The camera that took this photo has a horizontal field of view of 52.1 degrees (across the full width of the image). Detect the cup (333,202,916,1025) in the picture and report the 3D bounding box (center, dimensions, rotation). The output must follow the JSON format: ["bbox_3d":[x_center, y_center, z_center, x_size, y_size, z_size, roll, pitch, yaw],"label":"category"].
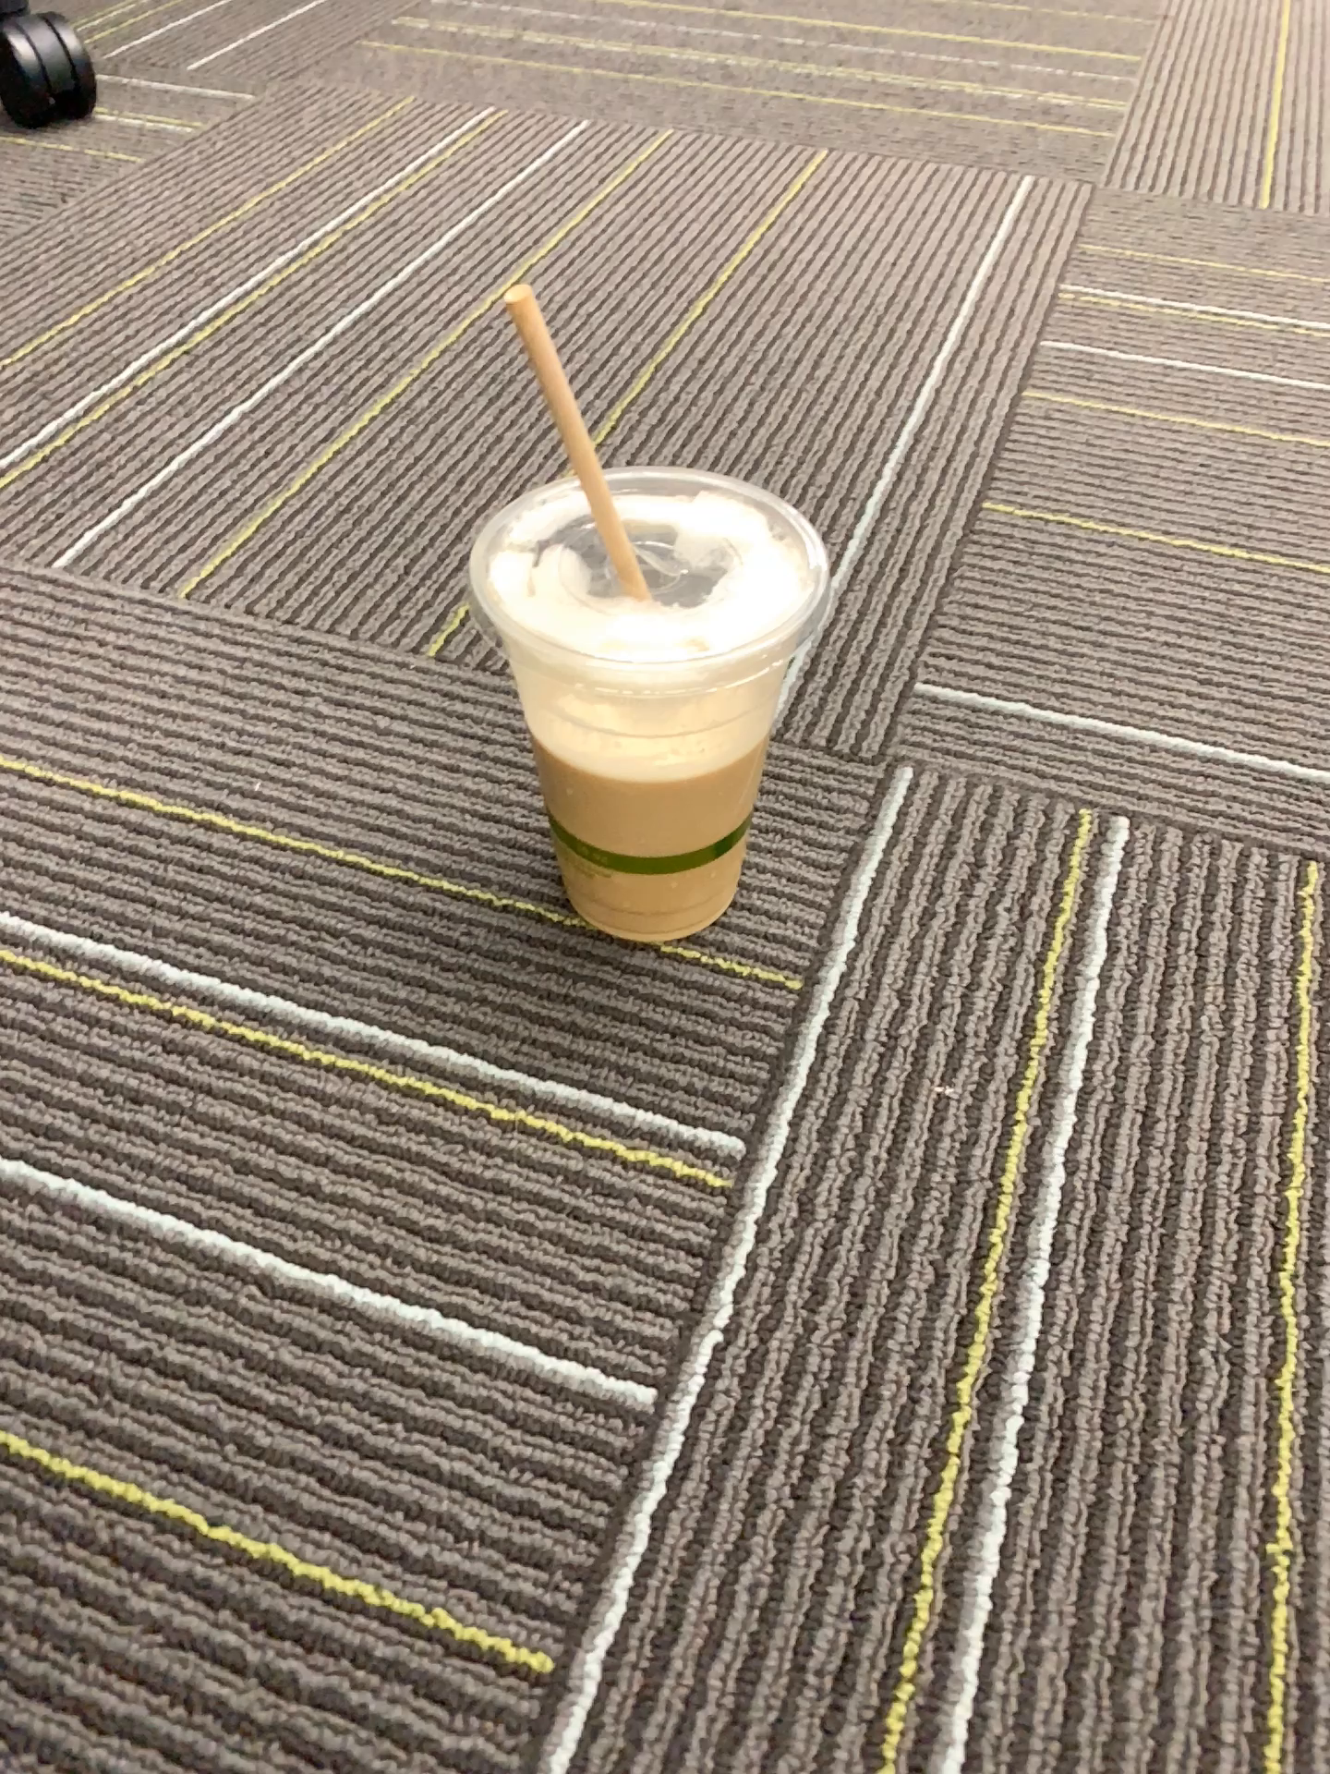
[{"bbox_3d":[-0.009,-0.071,0.377,0.100,0.179,0.090,-33,54,-28],"label":"cup"}]
